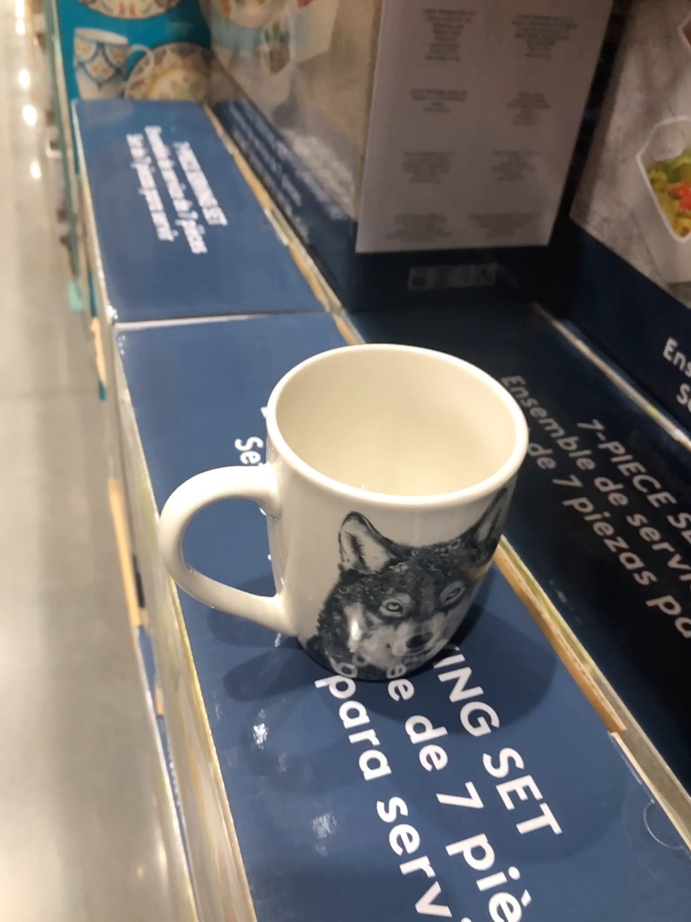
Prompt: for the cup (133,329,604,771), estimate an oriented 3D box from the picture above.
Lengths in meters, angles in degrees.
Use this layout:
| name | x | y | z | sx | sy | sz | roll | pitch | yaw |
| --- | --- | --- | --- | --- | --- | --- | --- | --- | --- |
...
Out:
| name | x | y | z | sx | sy | sz | roll | pitch | yaw |
| --- | --- | --- | --- | --- | --- | --- | --- | --- | --- |
| cup | -0.001 | 0.025 | 0.282 | 0.128 | 0.102 | 0.093 | -9 | 41 | -20 |
